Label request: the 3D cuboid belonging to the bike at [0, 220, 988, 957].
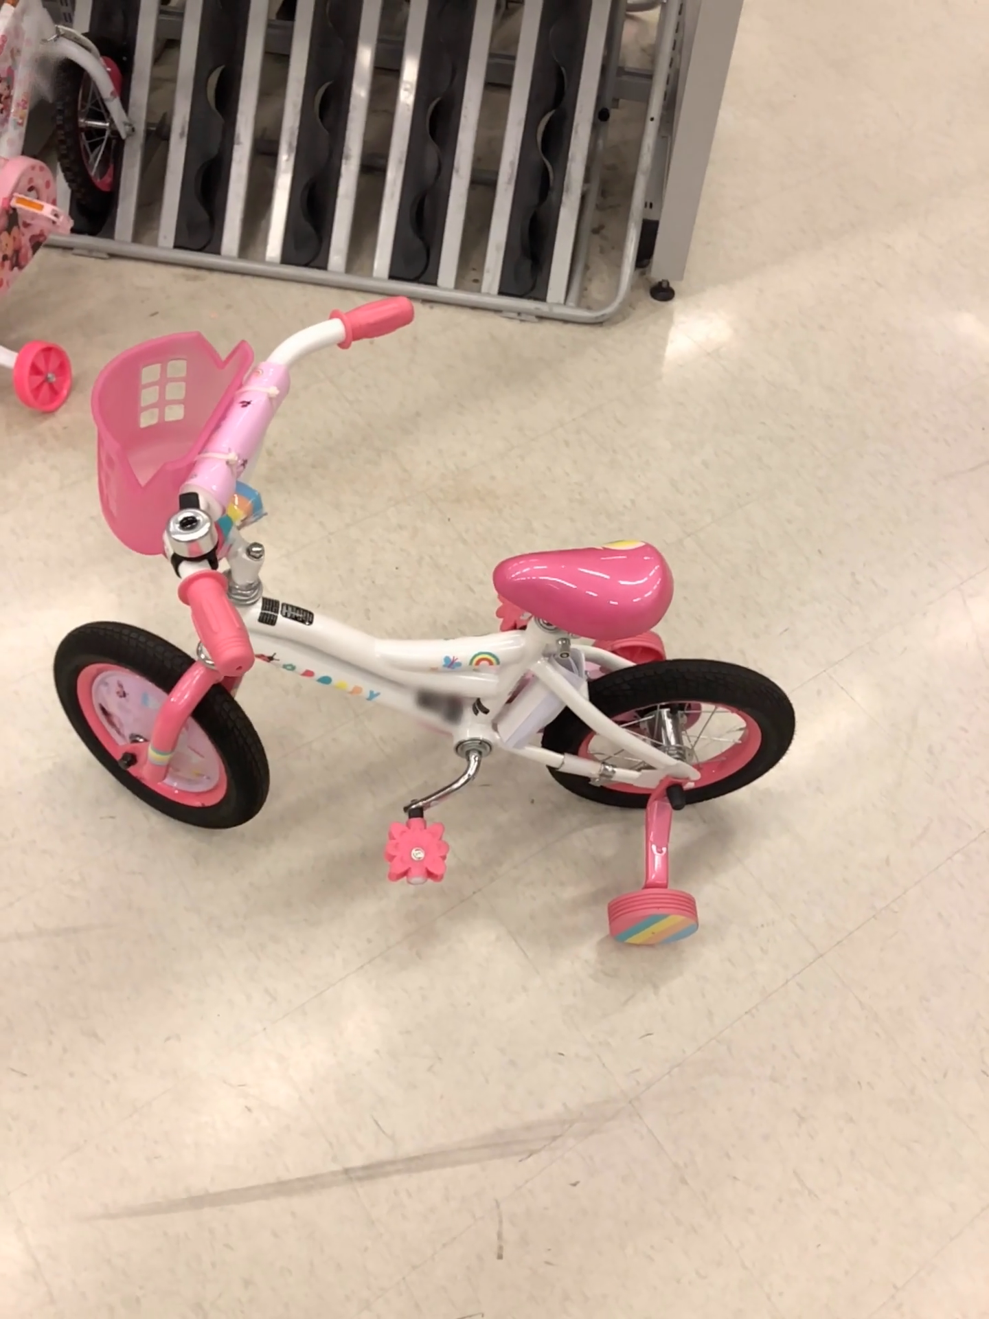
[{"bbox_3d":[-0.072,-0.042,1.197,0.878,0.632,0.458,4,56,2],"label":"bike"}]
